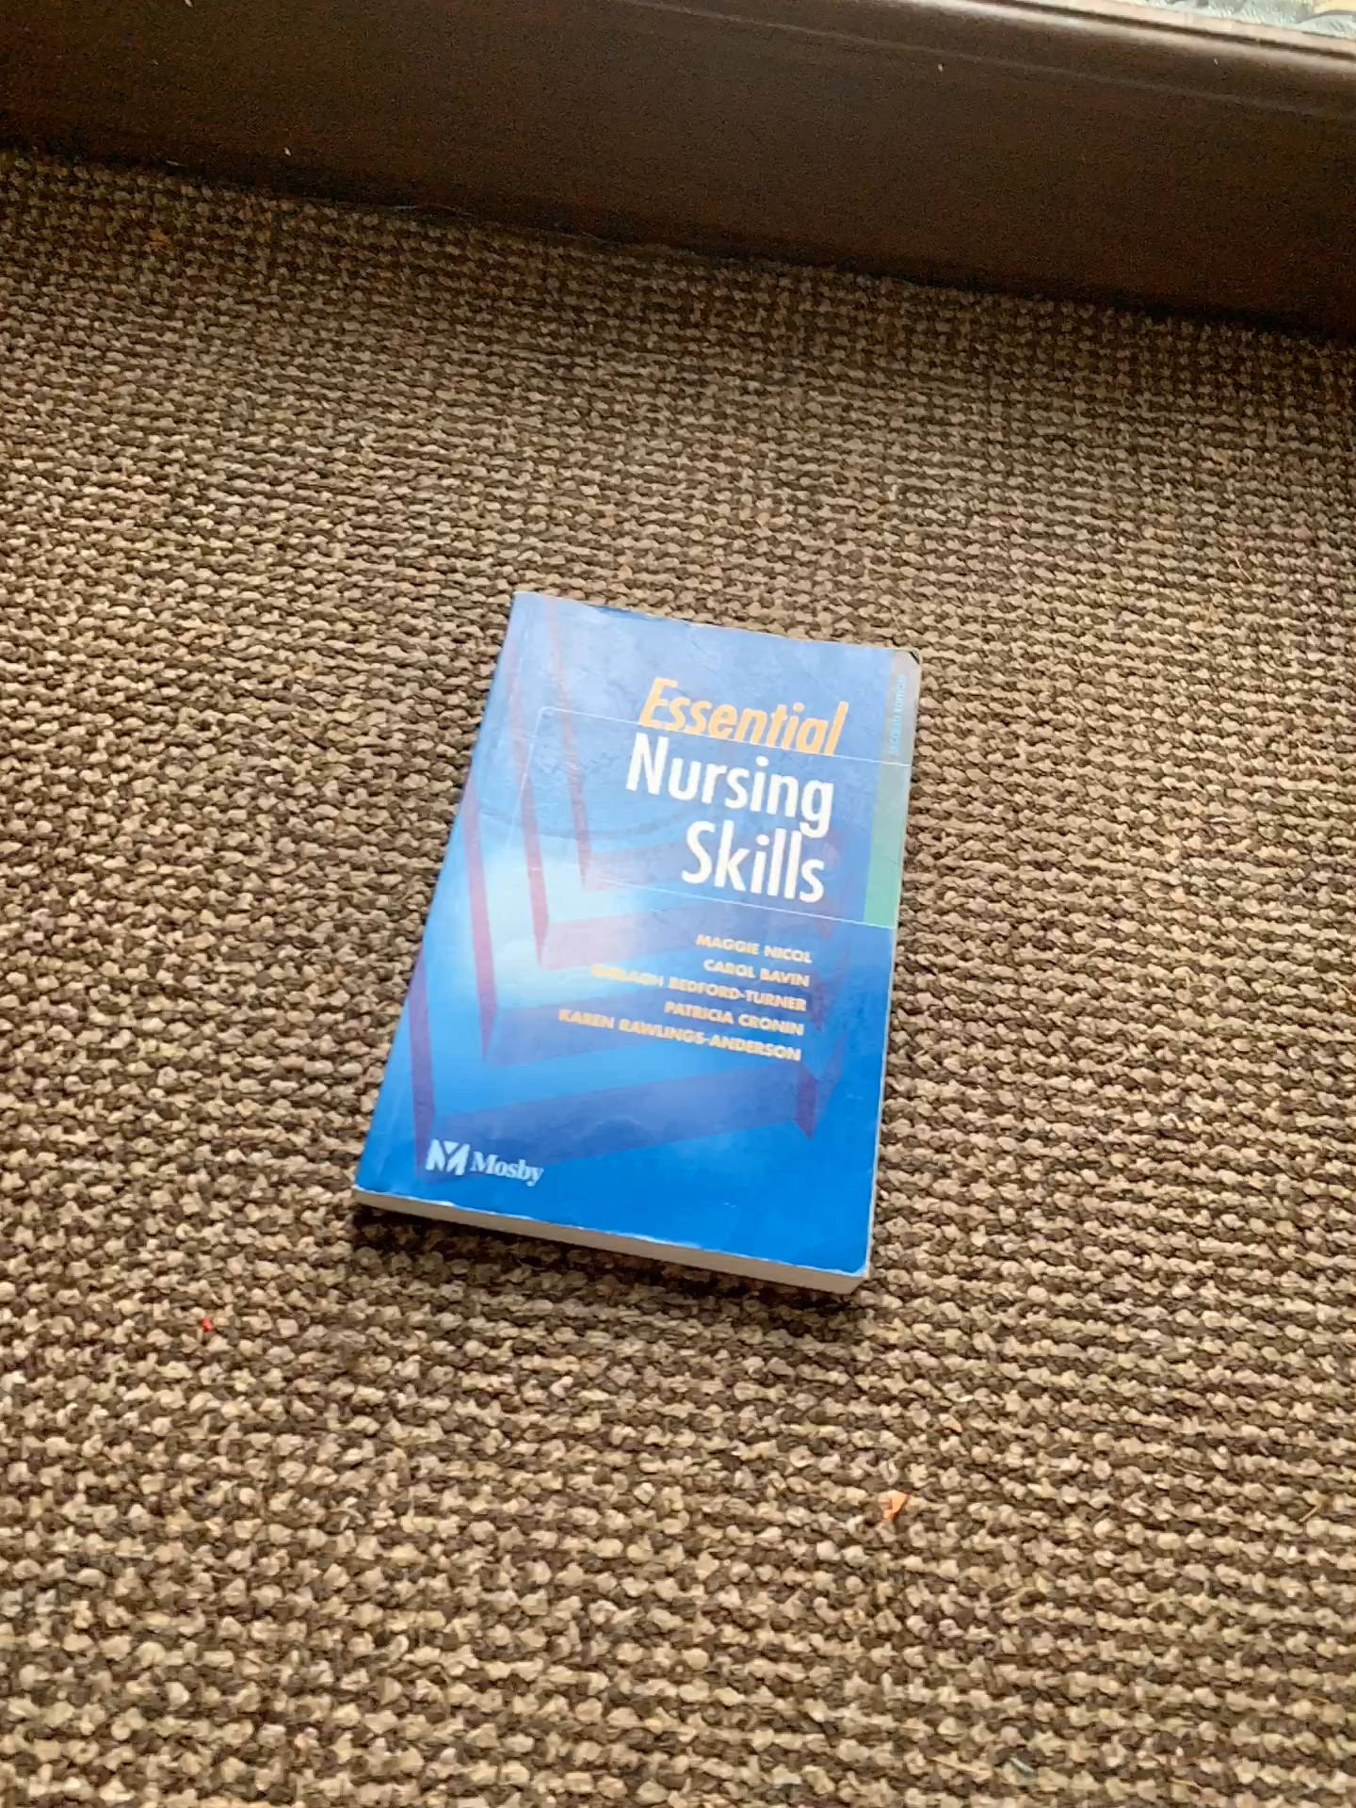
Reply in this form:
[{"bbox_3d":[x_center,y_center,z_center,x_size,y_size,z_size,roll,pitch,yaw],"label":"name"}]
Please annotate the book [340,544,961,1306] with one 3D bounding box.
[{"bbox_3d":[0.002,-0.006,0.473,0.170,0.020,0.251,9,65,1],"label":"book"}]
